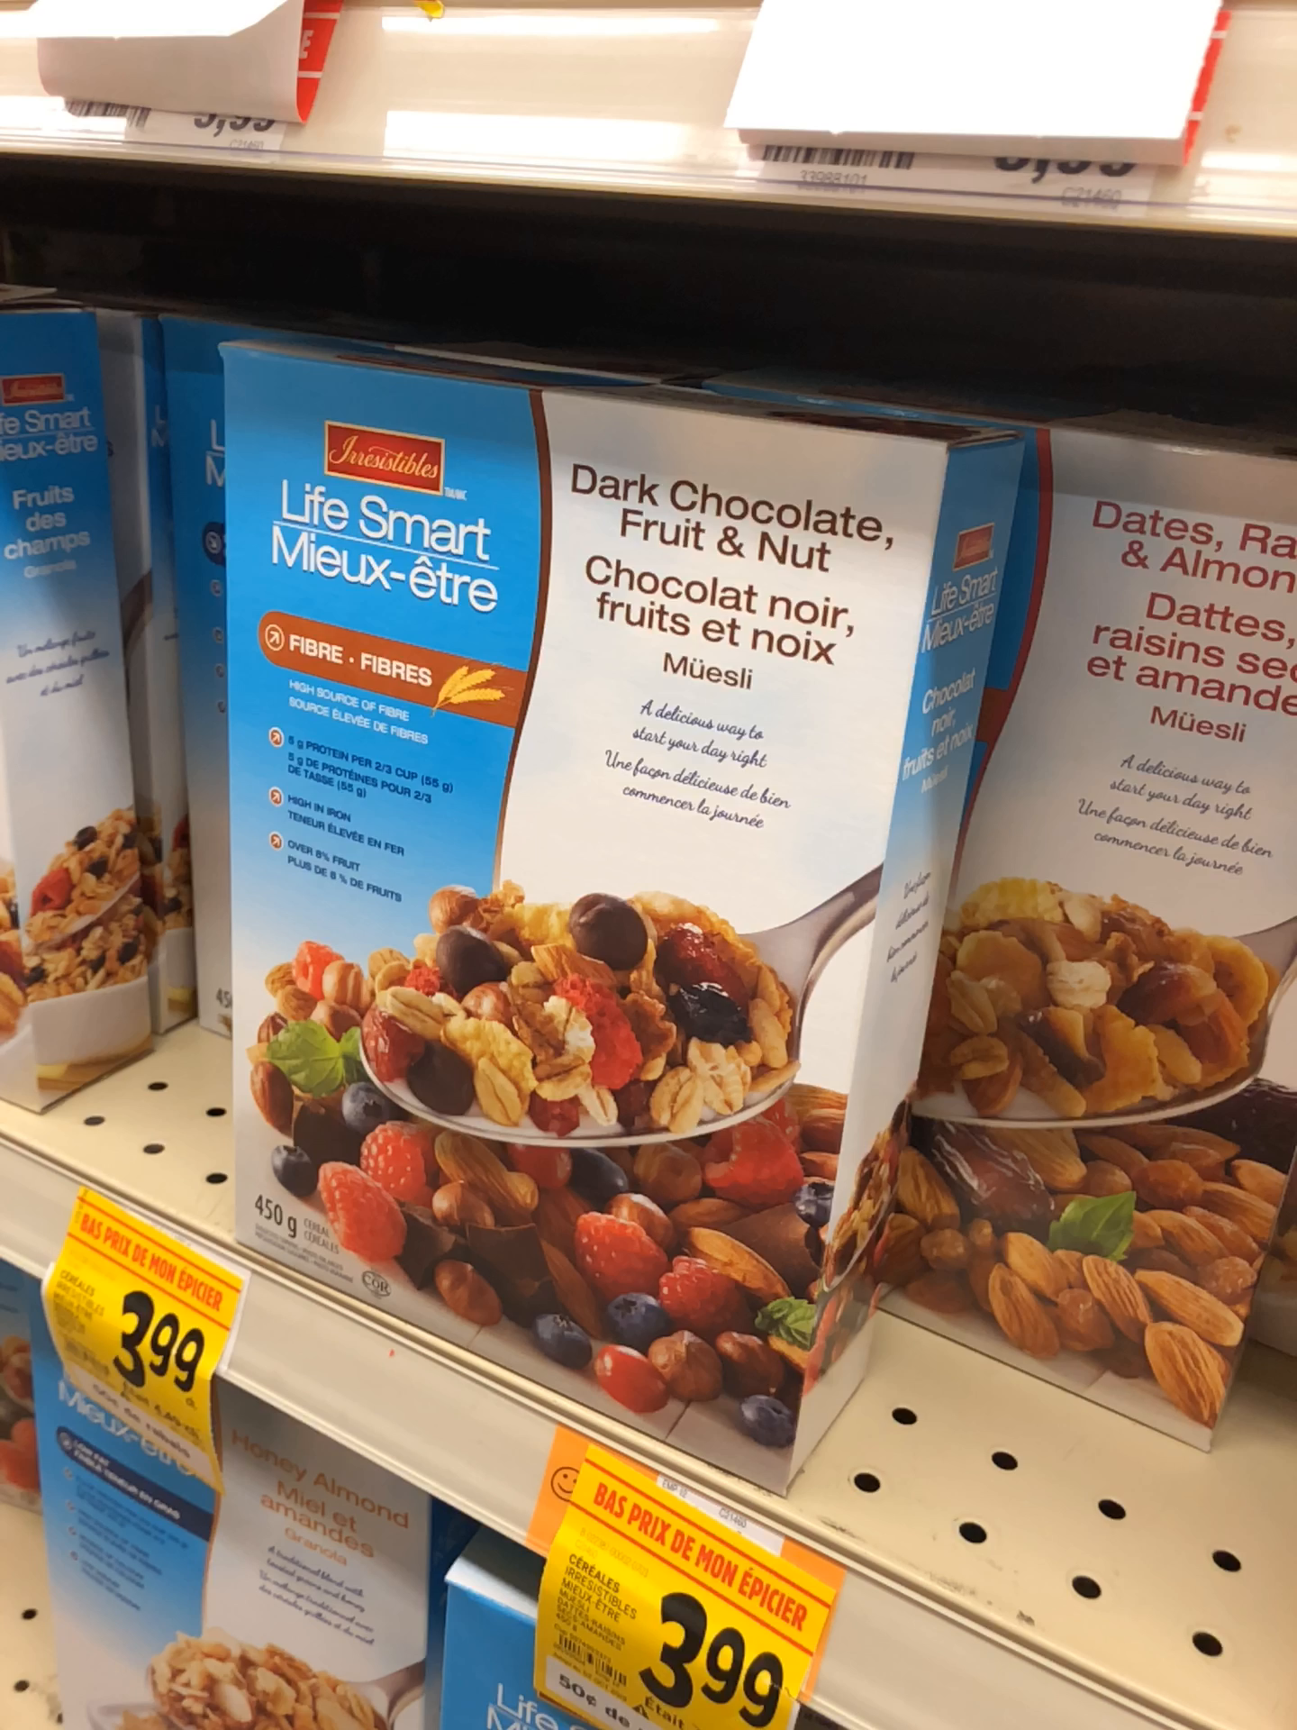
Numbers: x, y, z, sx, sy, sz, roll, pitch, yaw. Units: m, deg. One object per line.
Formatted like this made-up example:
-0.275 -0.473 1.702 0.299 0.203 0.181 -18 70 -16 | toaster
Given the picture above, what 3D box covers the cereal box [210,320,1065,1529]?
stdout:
-0.017 0.009 0.334 0.170 0.238 0.050 16 24 25 | cereal box
